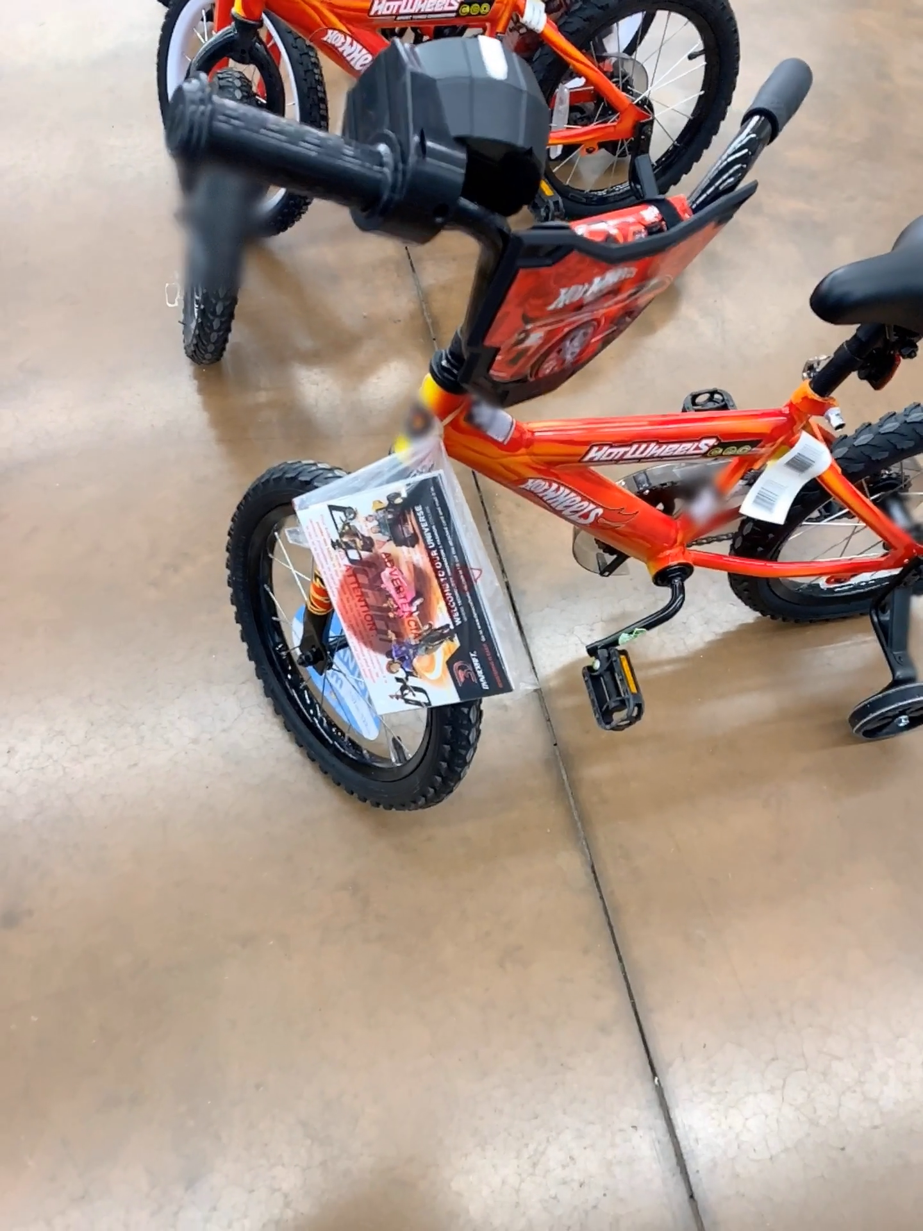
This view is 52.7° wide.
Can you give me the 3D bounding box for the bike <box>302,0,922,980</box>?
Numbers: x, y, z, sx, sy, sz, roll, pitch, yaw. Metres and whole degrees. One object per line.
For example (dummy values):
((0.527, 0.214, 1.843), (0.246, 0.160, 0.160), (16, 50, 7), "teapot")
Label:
((0.287, -0.130, 0.962), (0.740, 0.825, 0.511), (-22, 61, -8), "bike")
